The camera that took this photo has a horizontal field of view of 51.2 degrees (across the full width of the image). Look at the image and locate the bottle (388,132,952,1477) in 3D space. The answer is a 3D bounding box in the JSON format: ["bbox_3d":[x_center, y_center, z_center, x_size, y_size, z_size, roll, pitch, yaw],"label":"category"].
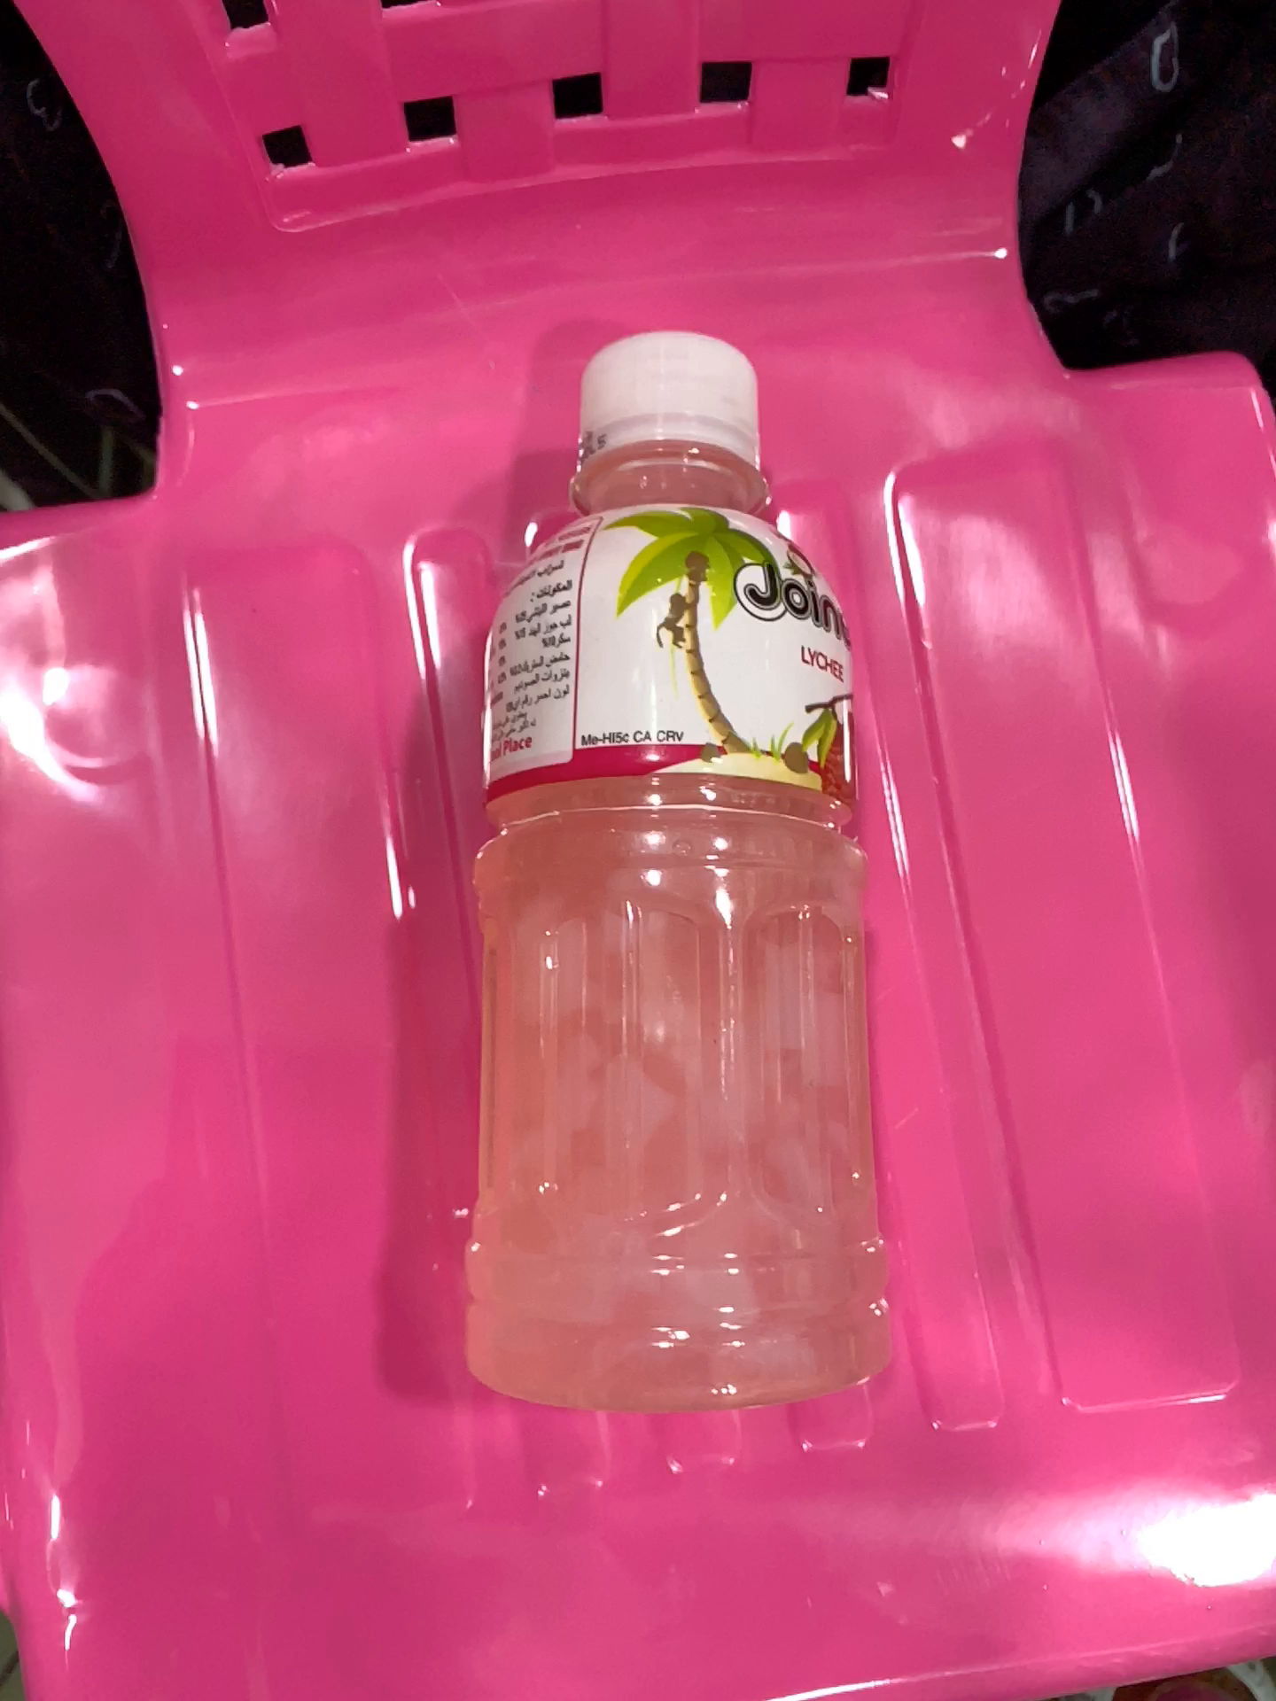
[{"bbox_3d":[0.005,-0.006,0.206,0.060,0.060,0.170,-6,81,28],"label":"bottle"}]
